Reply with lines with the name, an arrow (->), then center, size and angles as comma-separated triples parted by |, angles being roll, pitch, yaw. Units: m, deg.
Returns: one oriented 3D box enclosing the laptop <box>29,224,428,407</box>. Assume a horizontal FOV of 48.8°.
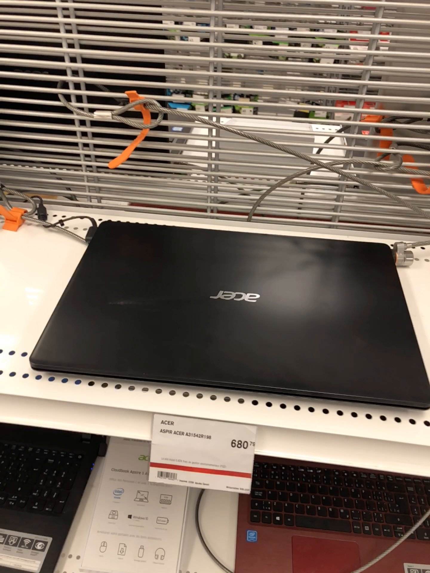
laptop -> 0.021, 0.013, 0.509 | 0.354, 0.006, 0.232 | 5, 40, 3
